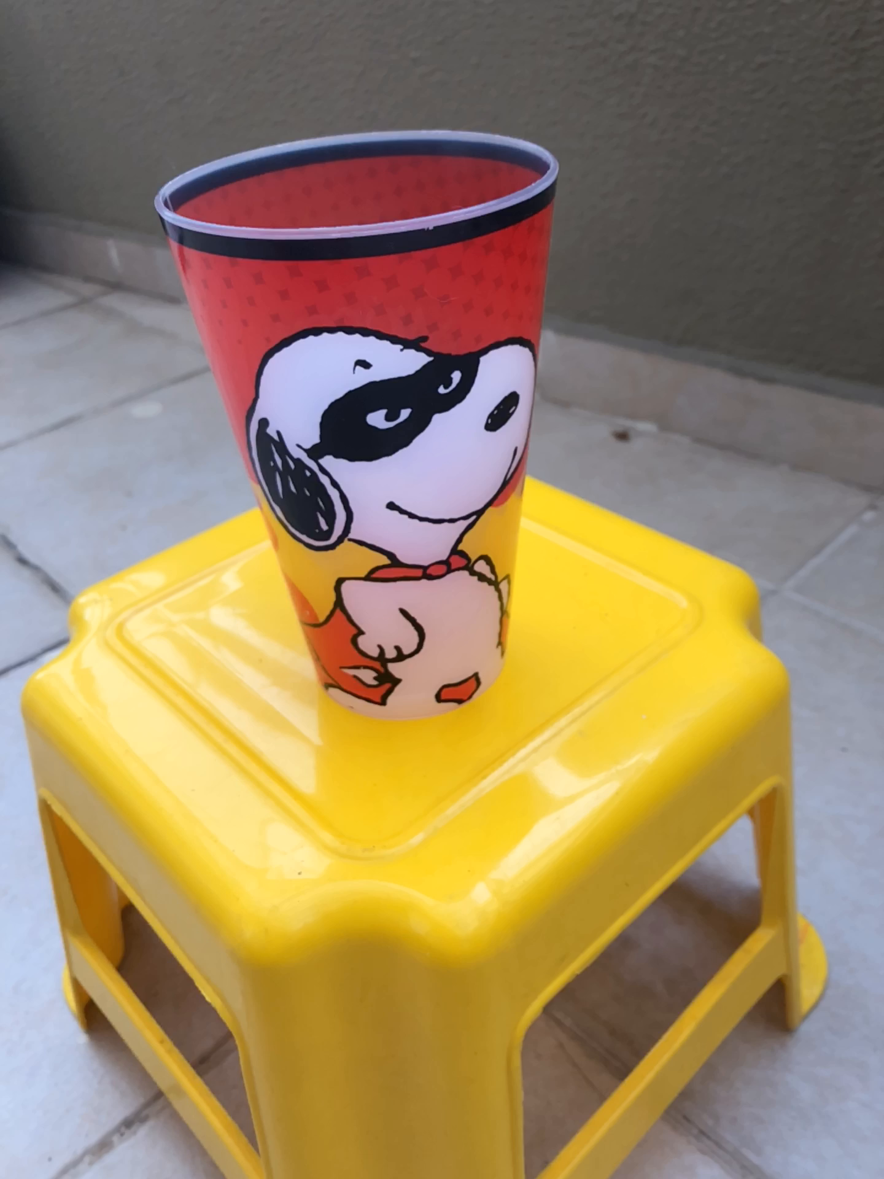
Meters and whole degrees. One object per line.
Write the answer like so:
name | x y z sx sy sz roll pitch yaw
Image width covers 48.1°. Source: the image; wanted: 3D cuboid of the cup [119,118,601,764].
cup | -0.019 -0.047 0.288 0.100 0.139 0.111 -9 35 -5
